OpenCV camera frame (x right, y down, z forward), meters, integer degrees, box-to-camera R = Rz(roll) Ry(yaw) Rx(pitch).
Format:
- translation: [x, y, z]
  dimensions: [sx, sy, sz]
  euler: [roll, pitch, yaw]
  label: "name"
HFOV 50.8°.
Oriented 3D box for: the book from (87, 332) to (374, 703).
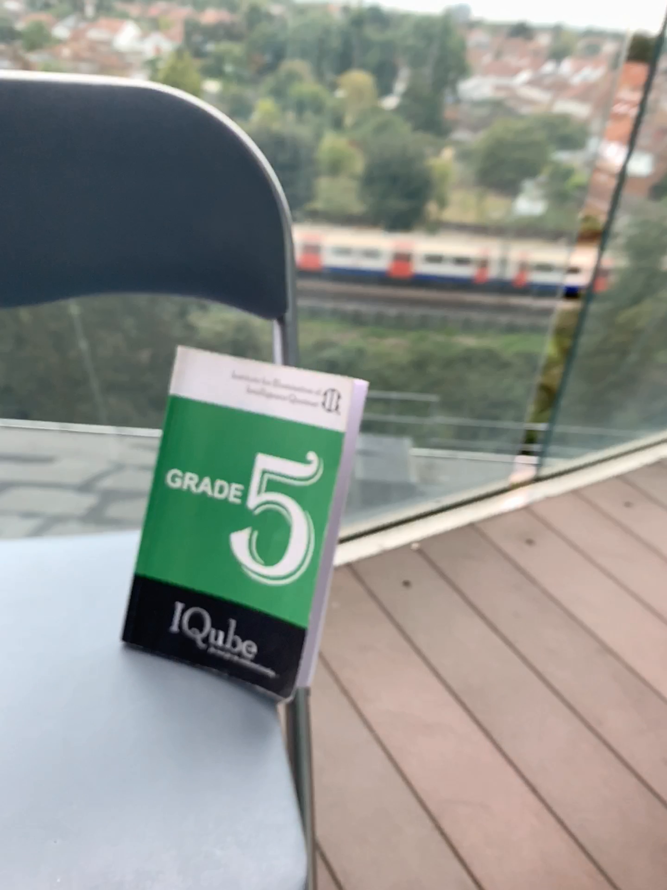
- translation: [-0.069, 0.042, 0.473]
  dimensions: [0.150, 0.210, 0.040]
  euler: [11, -1, 16]
  label: "book"
